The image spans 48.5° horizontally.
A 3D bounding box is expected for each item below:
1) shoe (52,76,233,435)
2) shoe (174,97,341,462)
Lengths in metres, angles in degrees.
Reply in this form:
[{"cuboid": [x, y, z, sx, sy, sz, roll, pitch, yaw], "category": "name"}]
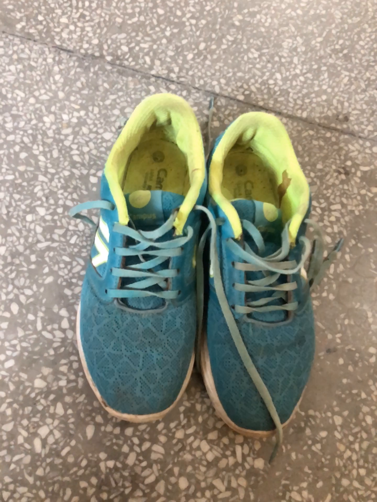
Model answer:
[{"cuboid": [-0.026, 0.000, 0.313, 0.090, 0.080, 0.240, 7, 70, -5], "category": "shoe"}, {"cuboid": [0.052, 0.018, 0.330, 0.100, 0.080, 0.250, 6, 76, -5], "category": "shoe"}]
